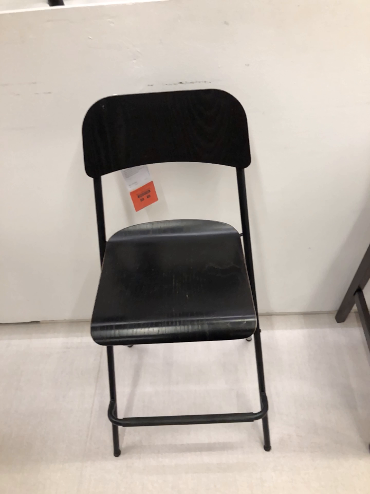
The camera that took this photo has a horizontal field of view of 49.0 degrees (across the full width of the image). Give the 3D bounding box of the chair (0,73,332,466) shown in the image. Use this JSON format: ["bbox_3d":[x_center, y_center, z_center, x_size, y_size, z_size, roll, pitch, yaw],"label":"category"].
[{"bbox_3d":[-0.027,0.131,1.006,0.490,0.884,0.473,-4,45,3],"label":"chair"}]
